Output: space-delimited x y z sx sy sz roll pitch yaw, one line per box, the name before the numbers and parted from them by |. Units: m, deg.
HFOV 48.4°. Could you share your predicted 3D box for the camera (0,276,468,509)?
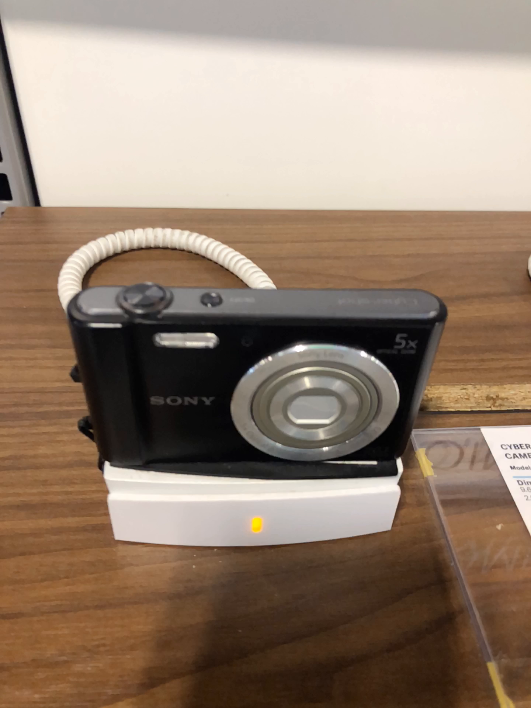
camera | -0.007 0.011 0.154 0.100 0.050 0.030 2 38 -1
